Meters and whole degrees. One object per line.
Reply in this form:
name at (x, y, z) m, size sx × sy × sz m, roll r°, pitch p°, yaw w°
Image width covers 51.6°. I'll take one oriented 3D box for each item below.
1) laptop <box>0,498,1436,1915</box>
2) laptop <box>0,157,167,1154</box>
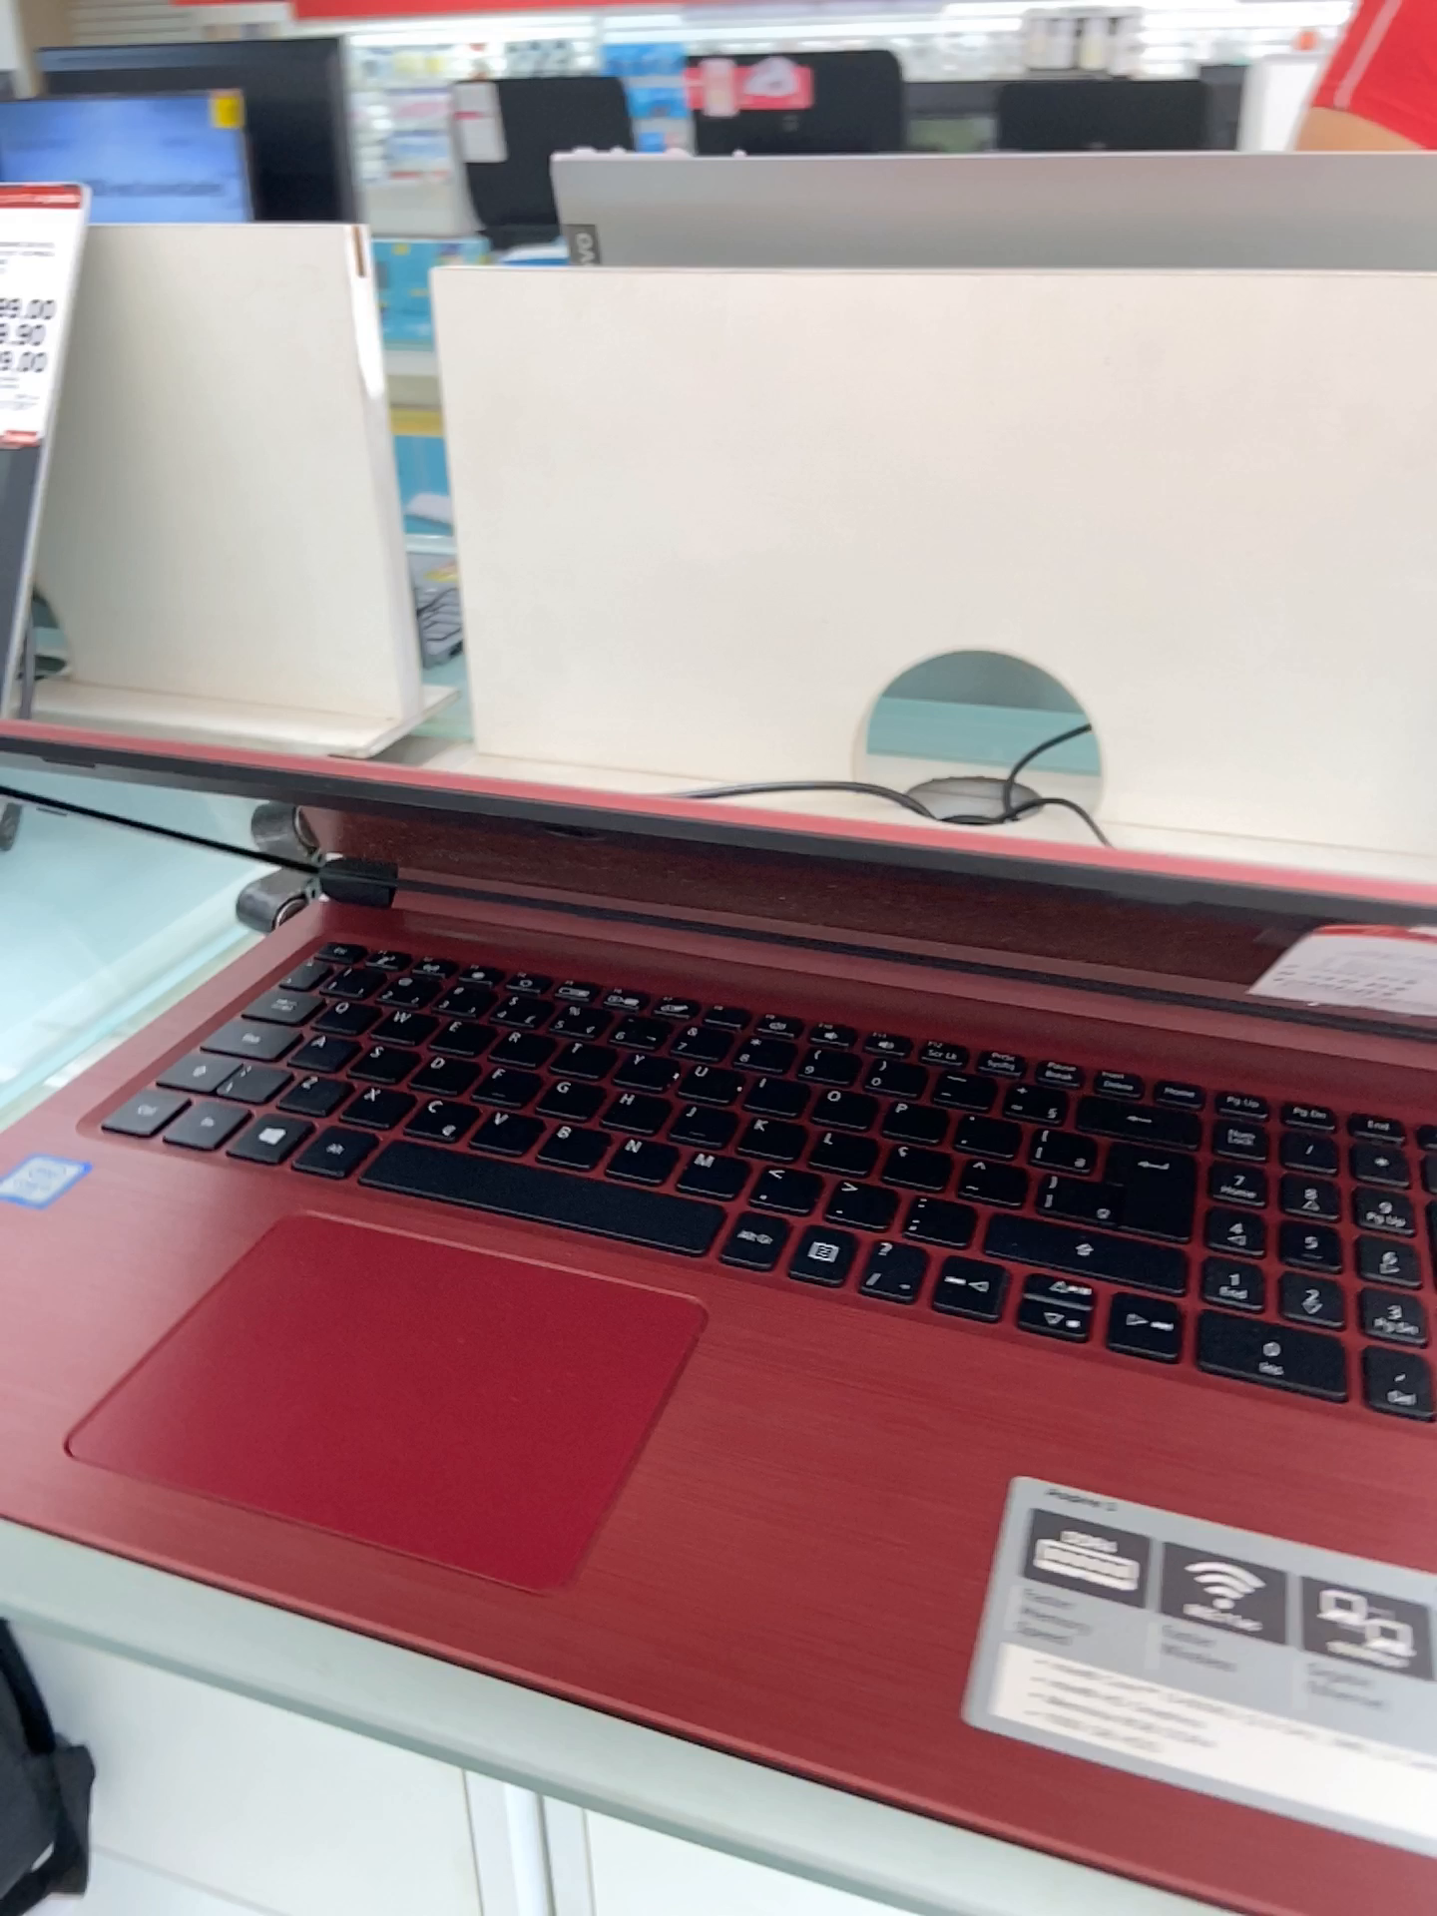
laptop at (0.001, 0.001, 0.316) m, size 0.379 × 0.132 × 0.237 m, roll 8°, pitch 29°, yaw 17°
laptop at (-0.494, -0.161, 0.539) m, size 0.353 × 0.215 × 0.379 m, roll 10°, pitch 30°, yaw 17°
